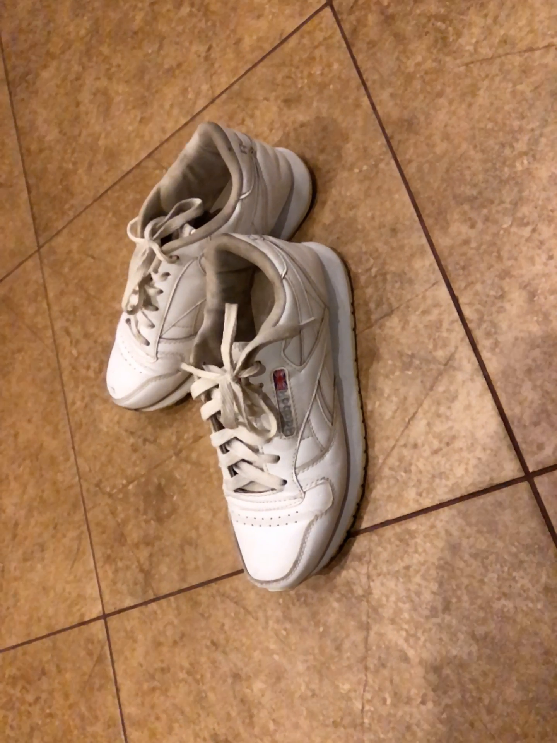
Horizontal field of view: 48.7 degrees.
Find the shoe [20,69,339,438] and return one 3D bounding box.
[{"bbox_3d":[-0.085,-0.079,0.494,0.100,0.100,0.260,46,109,31],"label":"shoe"}]

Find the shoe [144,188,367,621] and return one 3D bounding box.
[{"bbox_3d":[-0.013,0.023,0.427,0.110,0.100,0.250,-6,80,34],"label":"shoe"}]
